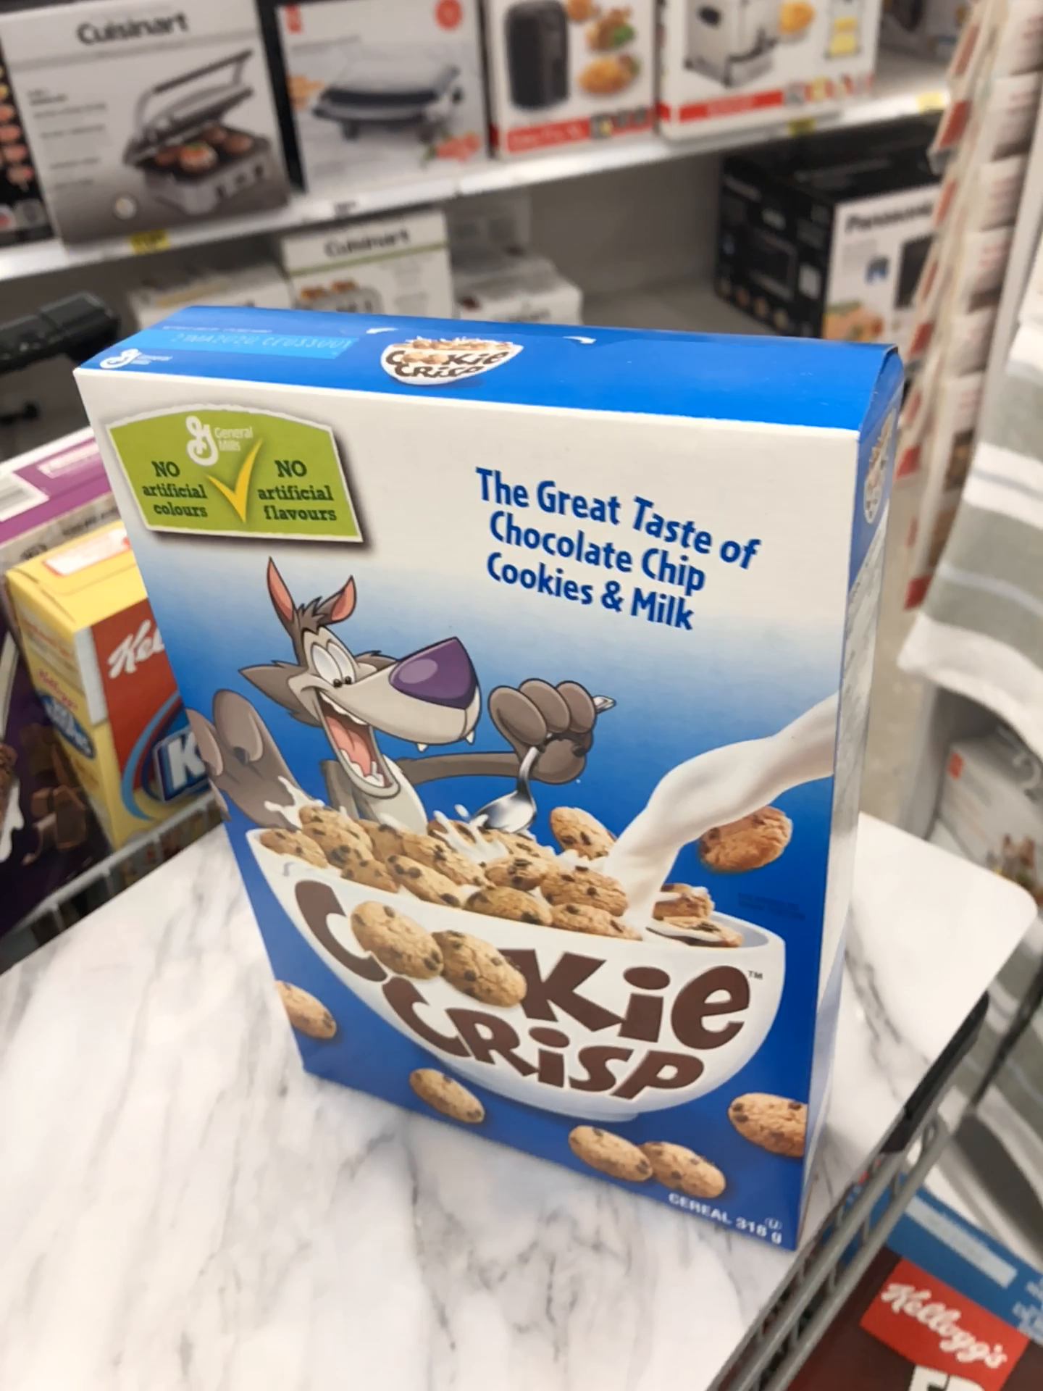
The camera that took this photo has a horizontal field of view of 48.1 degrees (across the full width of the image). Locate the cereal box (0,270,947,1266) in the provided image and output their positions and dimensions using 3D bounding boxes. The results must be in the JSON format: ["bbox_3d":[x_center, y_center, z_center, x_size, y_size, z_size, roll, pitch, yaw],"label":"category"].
[{"bbox_3d":[-0.009,0.028,0.331,0.210,0.269,0.050,11,38,23],"label":"cereal box"}]
